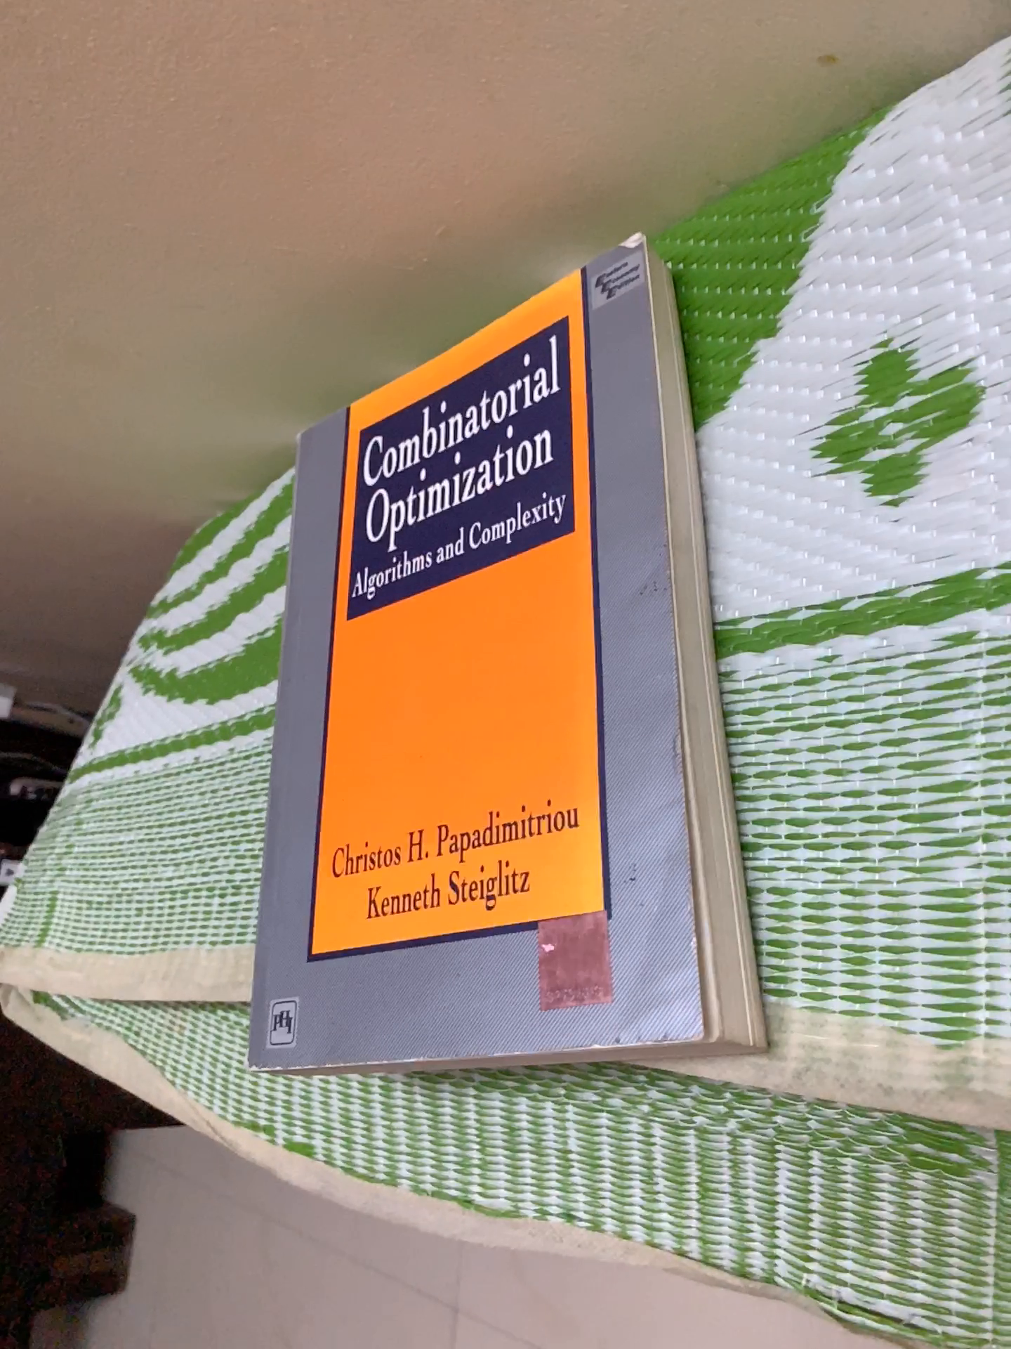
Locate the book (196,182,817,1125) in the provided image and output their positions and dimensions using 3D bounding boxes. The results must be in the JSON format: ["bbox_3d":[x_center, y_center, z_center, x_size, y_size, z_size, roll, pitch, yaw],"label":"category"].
[{"bbox_3d":[-0.005,-0.007,0.332,0.171,0.040,0.271,-18,56,34],"label":"book"}]
